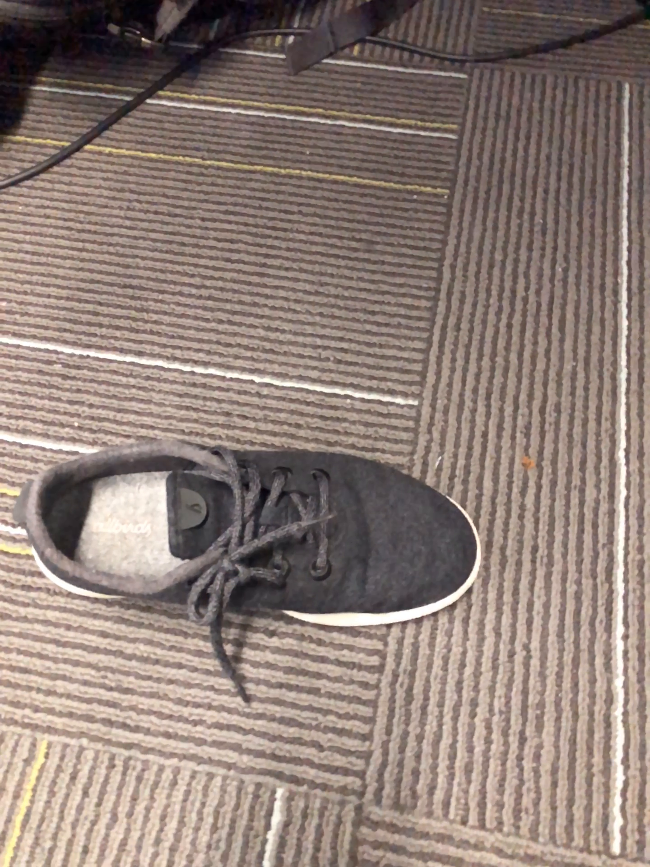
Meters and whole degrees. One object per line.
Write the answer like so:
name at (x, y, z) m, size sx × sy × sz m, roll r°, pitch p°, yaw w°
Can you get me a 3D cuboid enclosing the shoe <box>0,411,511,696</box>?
shoe at (-0.050, 0.065, 0.401) m, size 0.280 × 0.060 × 0.140 m, roll 1°, pitch 63°, yaw 2°
